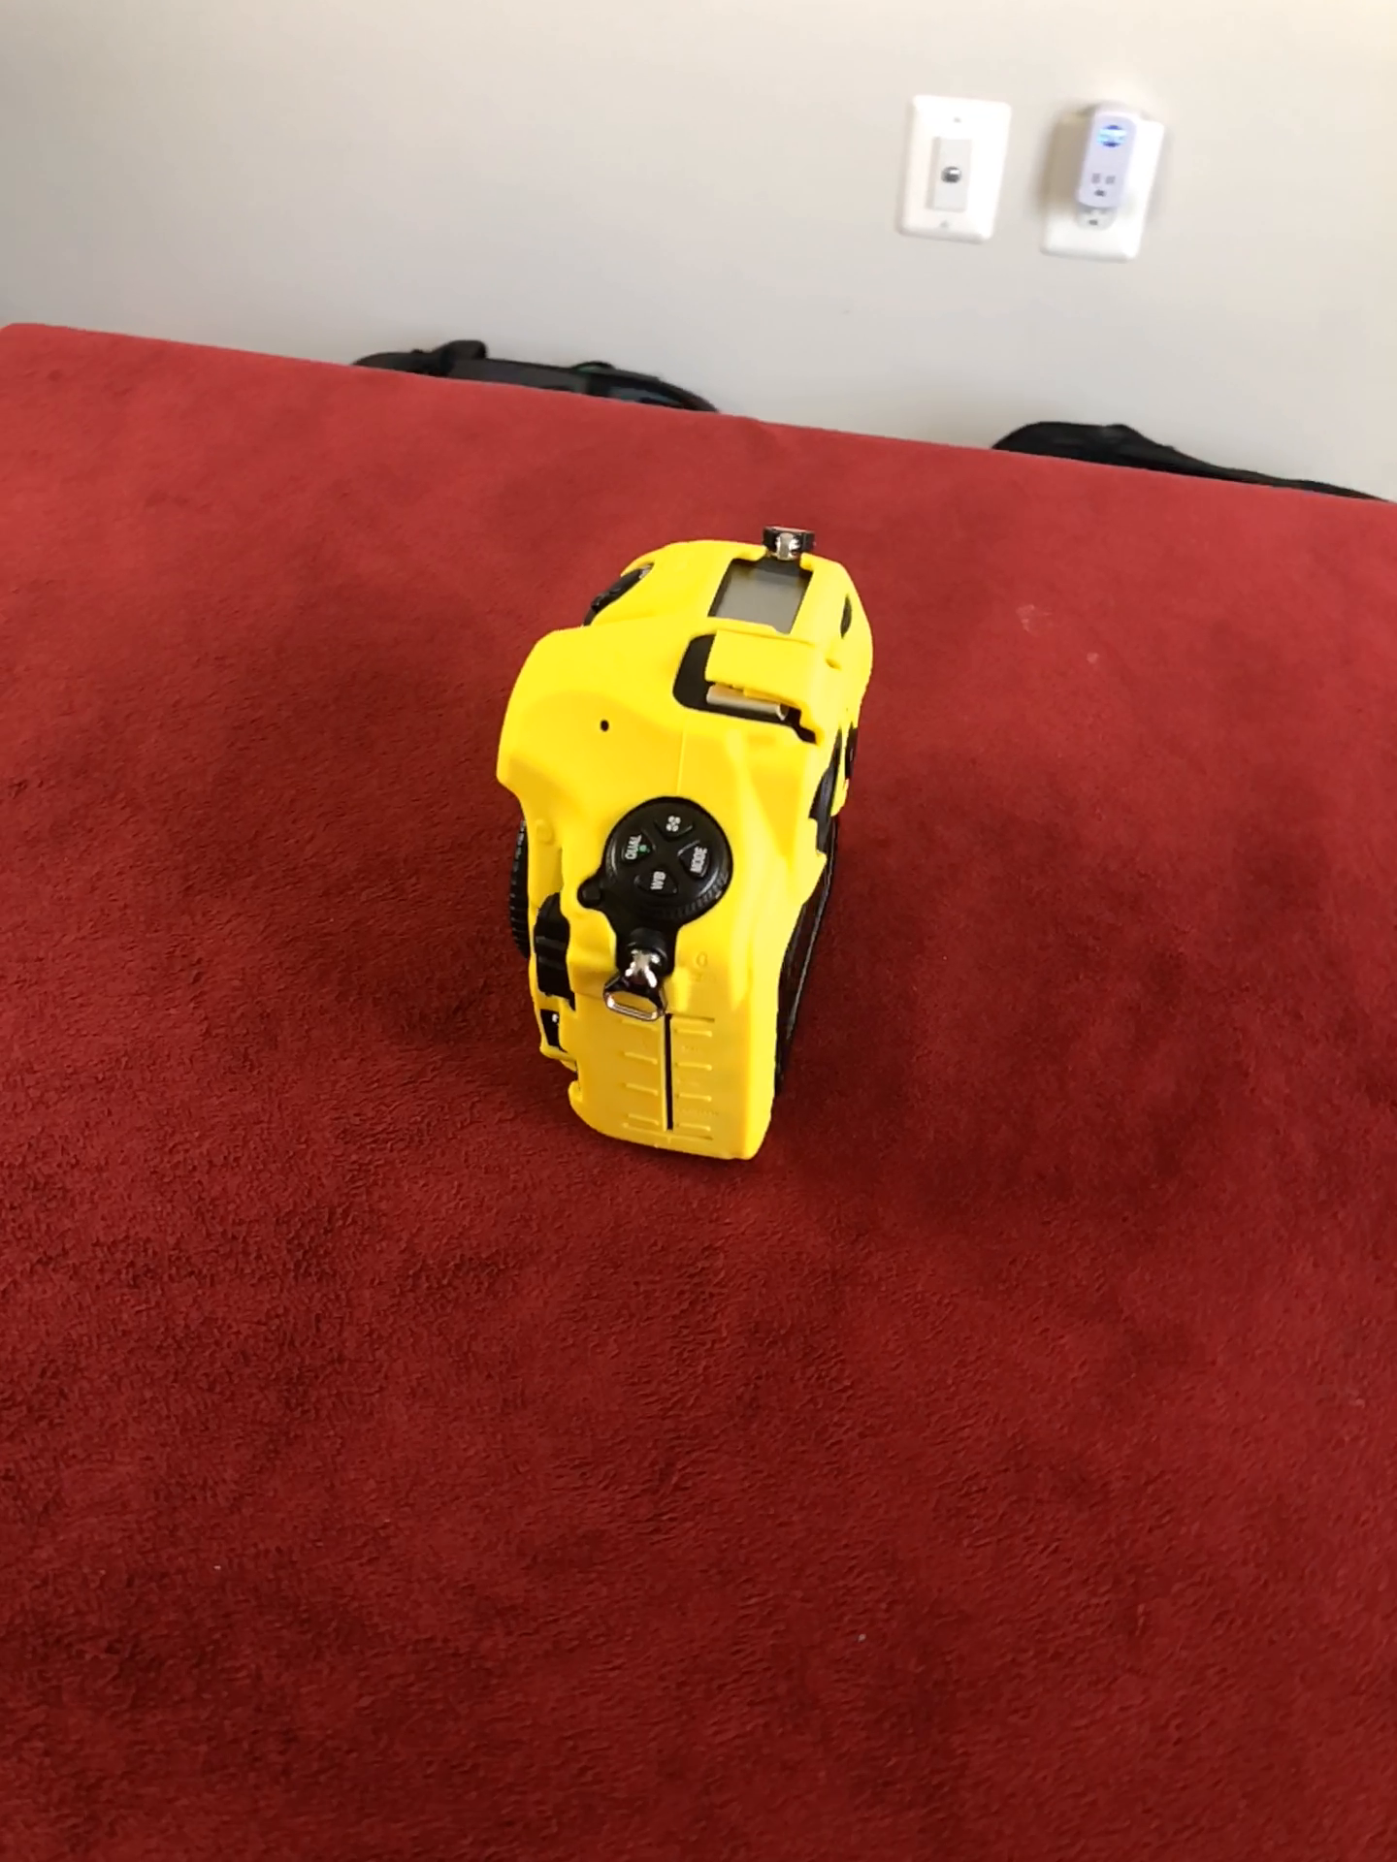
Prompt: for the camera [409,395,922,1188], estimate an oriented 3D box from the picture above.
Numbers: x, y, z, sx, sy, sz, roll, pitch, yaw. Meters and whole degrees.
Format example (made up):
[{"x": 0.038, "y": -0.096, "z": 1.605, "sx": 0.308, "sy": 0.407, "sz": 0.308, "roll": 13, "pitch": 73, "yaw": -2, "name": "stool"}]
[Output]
[{"x": 0.000, "y": -0.040, "z": 0.403, "sx": 0.082, "sy": 0.116, "sz": 0.161, "roll": 10, "pitch": 51, "yaw": 9, "name": "camera"}]
